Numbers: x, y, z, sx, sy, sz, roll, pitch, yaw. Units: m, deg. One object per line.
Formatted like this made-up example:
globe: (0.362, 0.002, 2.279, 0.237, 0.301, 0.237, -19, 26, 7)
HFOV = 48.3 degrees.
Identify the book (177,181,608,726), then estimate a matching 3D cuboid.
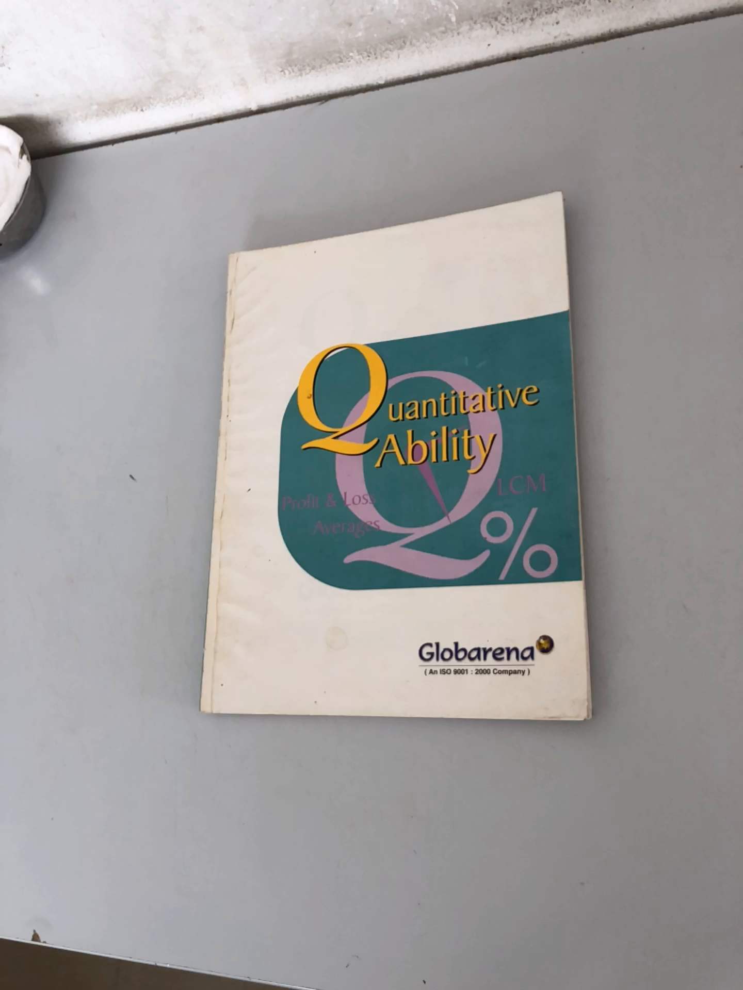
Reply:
book: (0.005, -0.018, 0.389, 0.190, 0.020, 0.240, -4, 75, 19)
